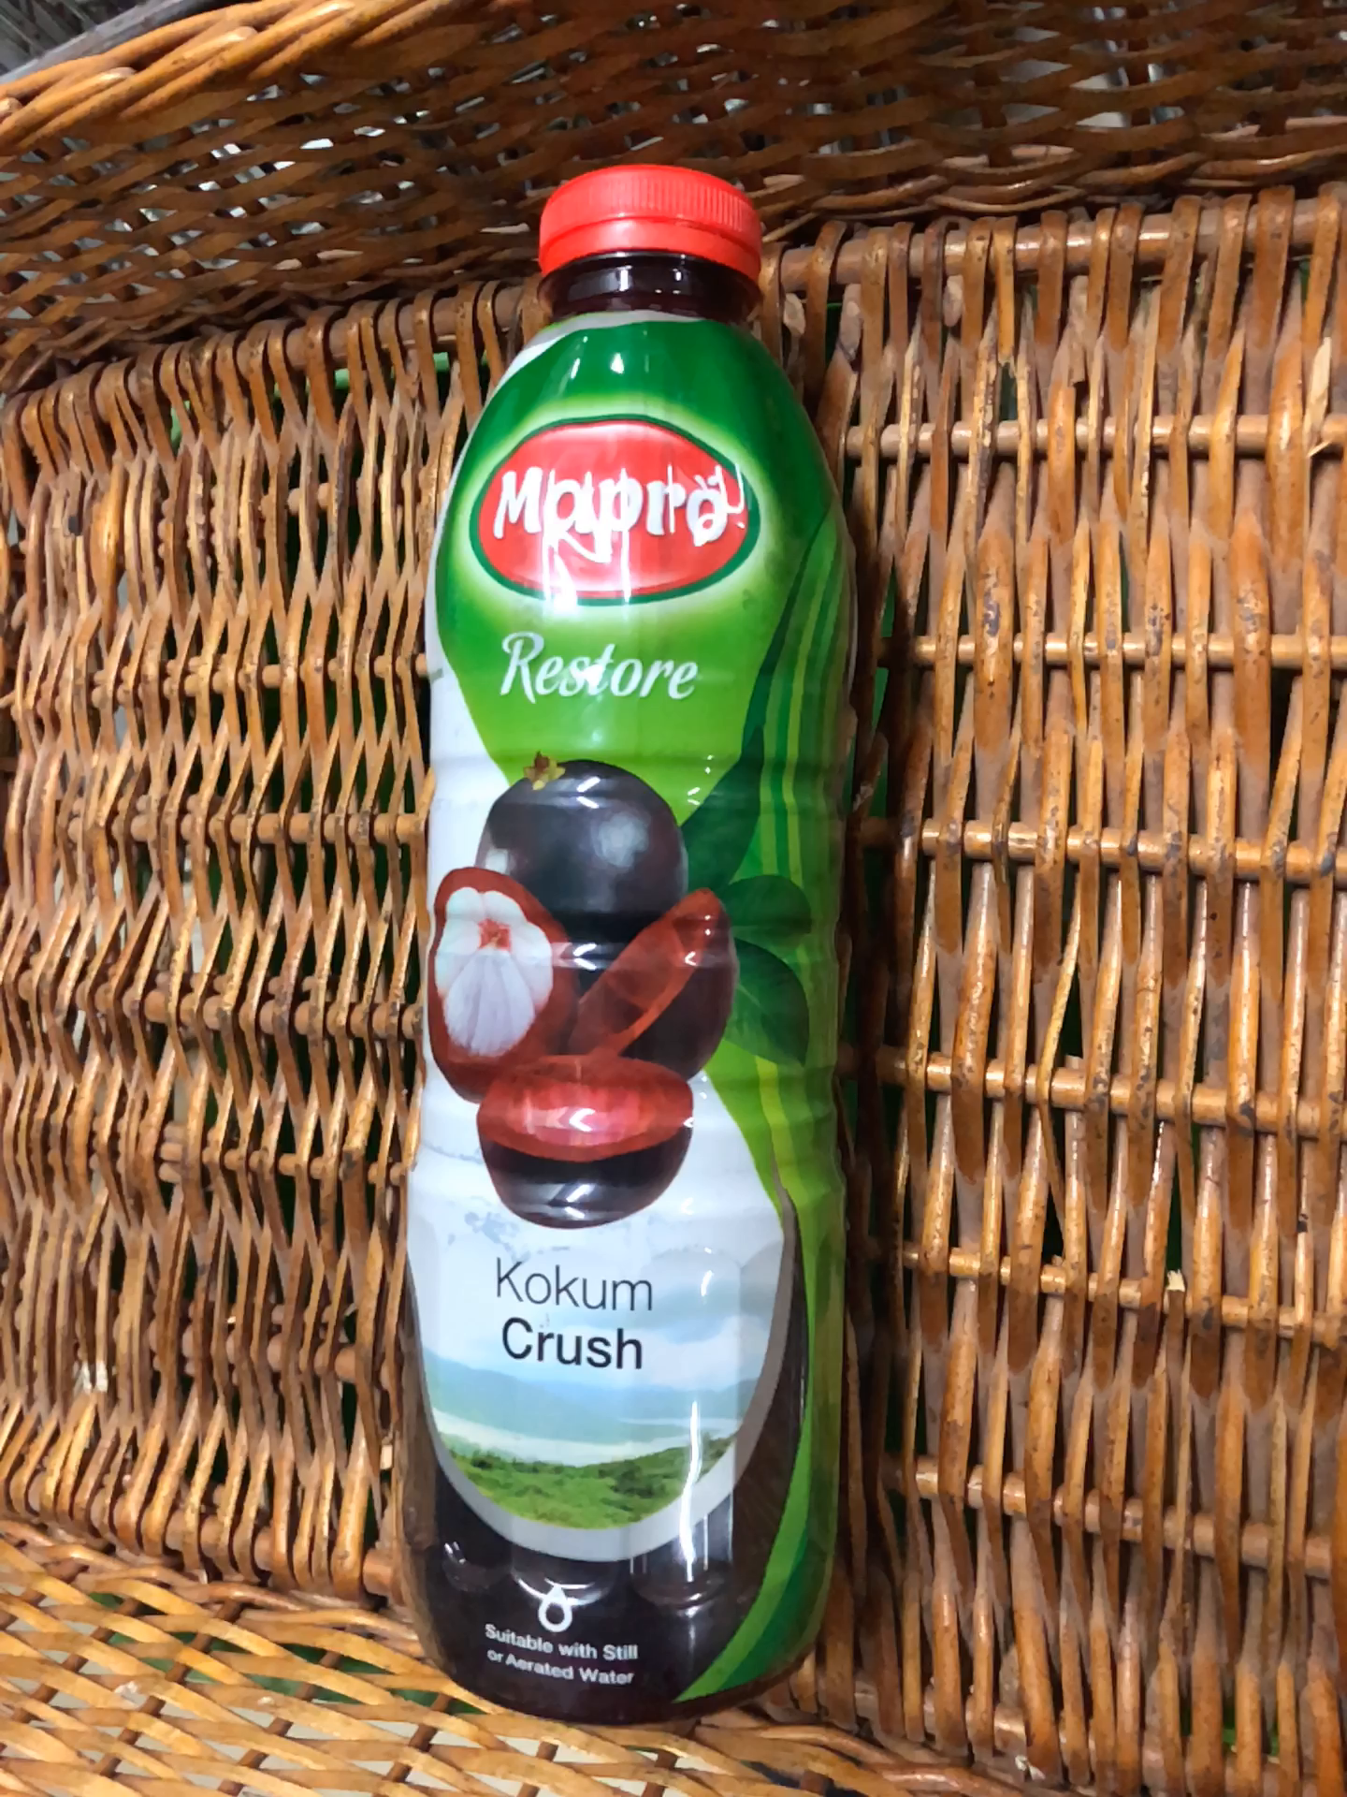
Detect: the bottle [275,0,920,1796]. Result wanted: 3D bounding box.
[{"bbox_3d":[-0.007,-0.008,0.259,0.080,0.080,0.270,1,89,19],"label":"bottle"}]
